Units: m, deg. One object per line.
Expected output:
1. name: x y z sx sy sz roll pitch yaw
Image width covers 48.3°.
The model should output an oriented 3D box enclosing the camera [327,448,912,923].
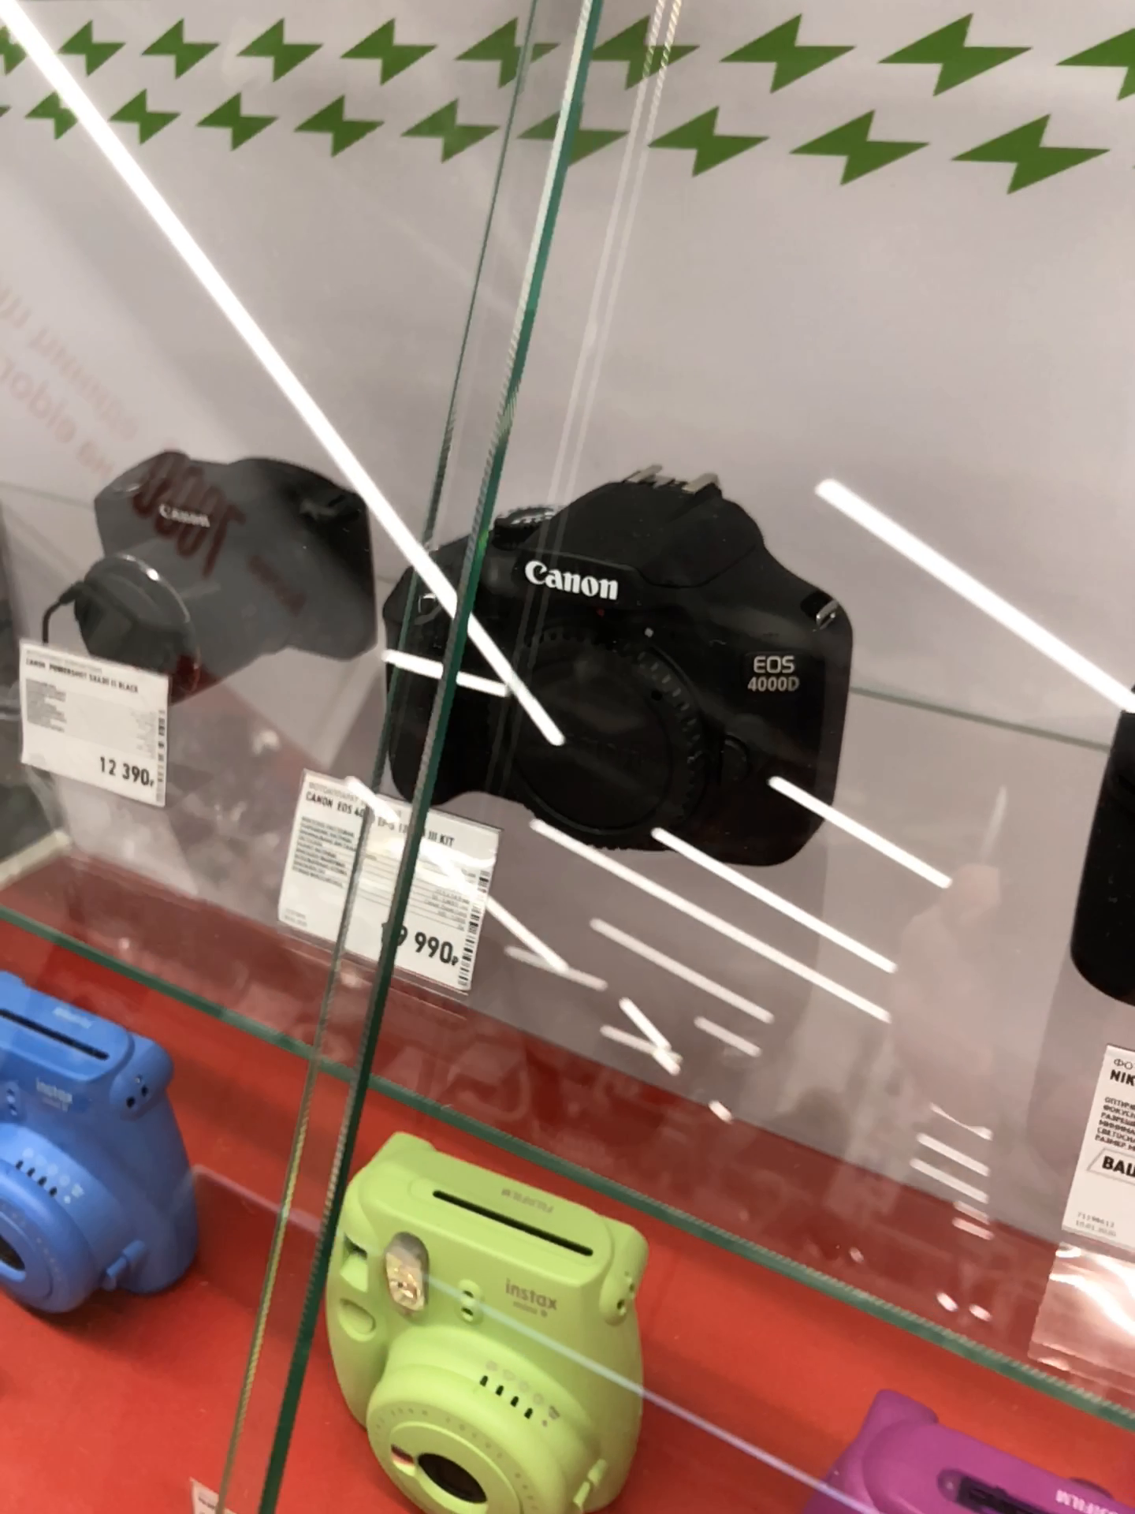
1. camera: 0.017 -0.030 0.377 0.135 0.083 0.100 14 32 24
